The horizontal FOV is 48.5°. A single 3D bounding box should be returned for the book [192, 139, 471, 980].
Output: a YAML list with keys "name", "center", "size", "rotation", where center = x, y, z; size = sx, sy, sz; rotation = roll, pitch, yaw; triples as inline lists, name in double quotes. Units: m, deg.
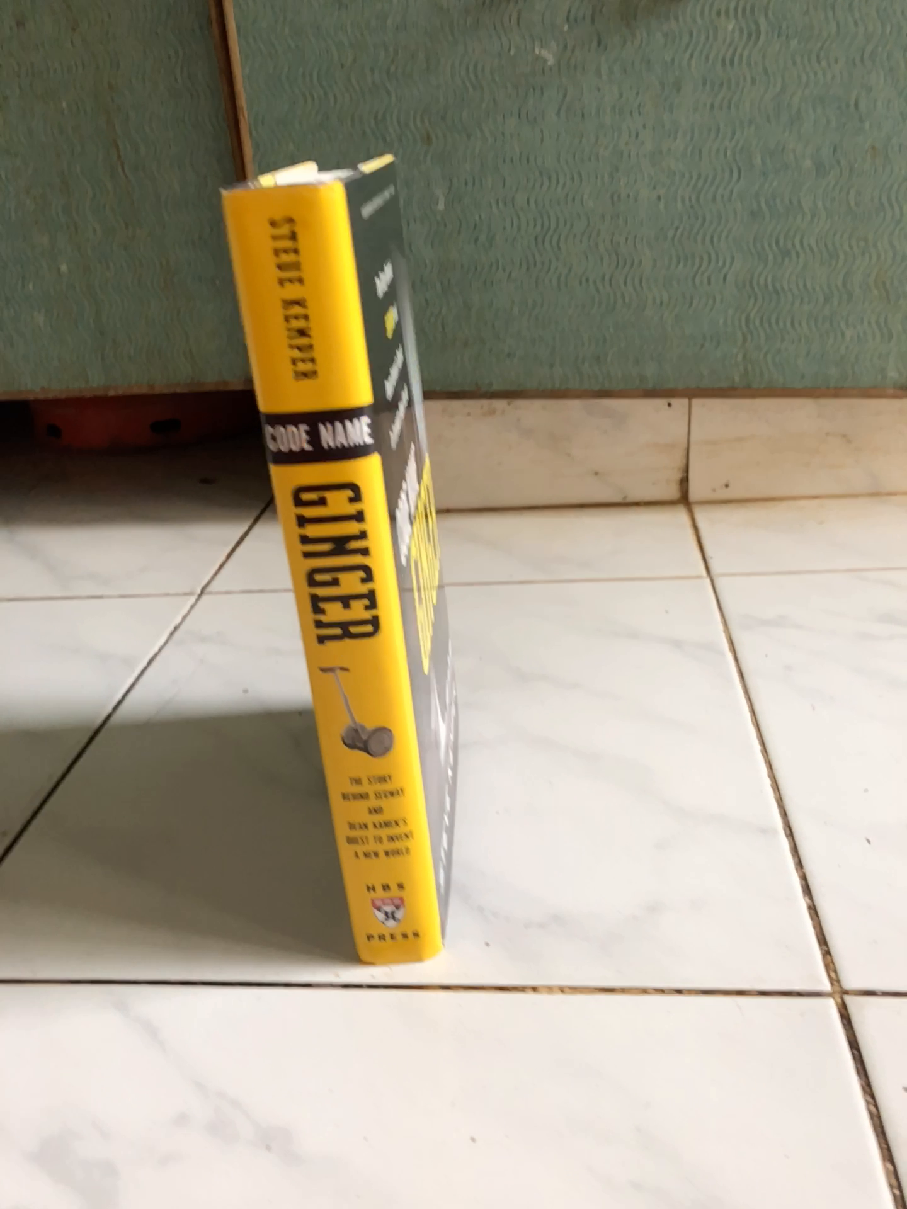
- name: "book"
  center: [-0.024, -0.030, 0.357]
  size: [0.040, 0.239, 0.191]
  rotation: [-4, 26, 3]
